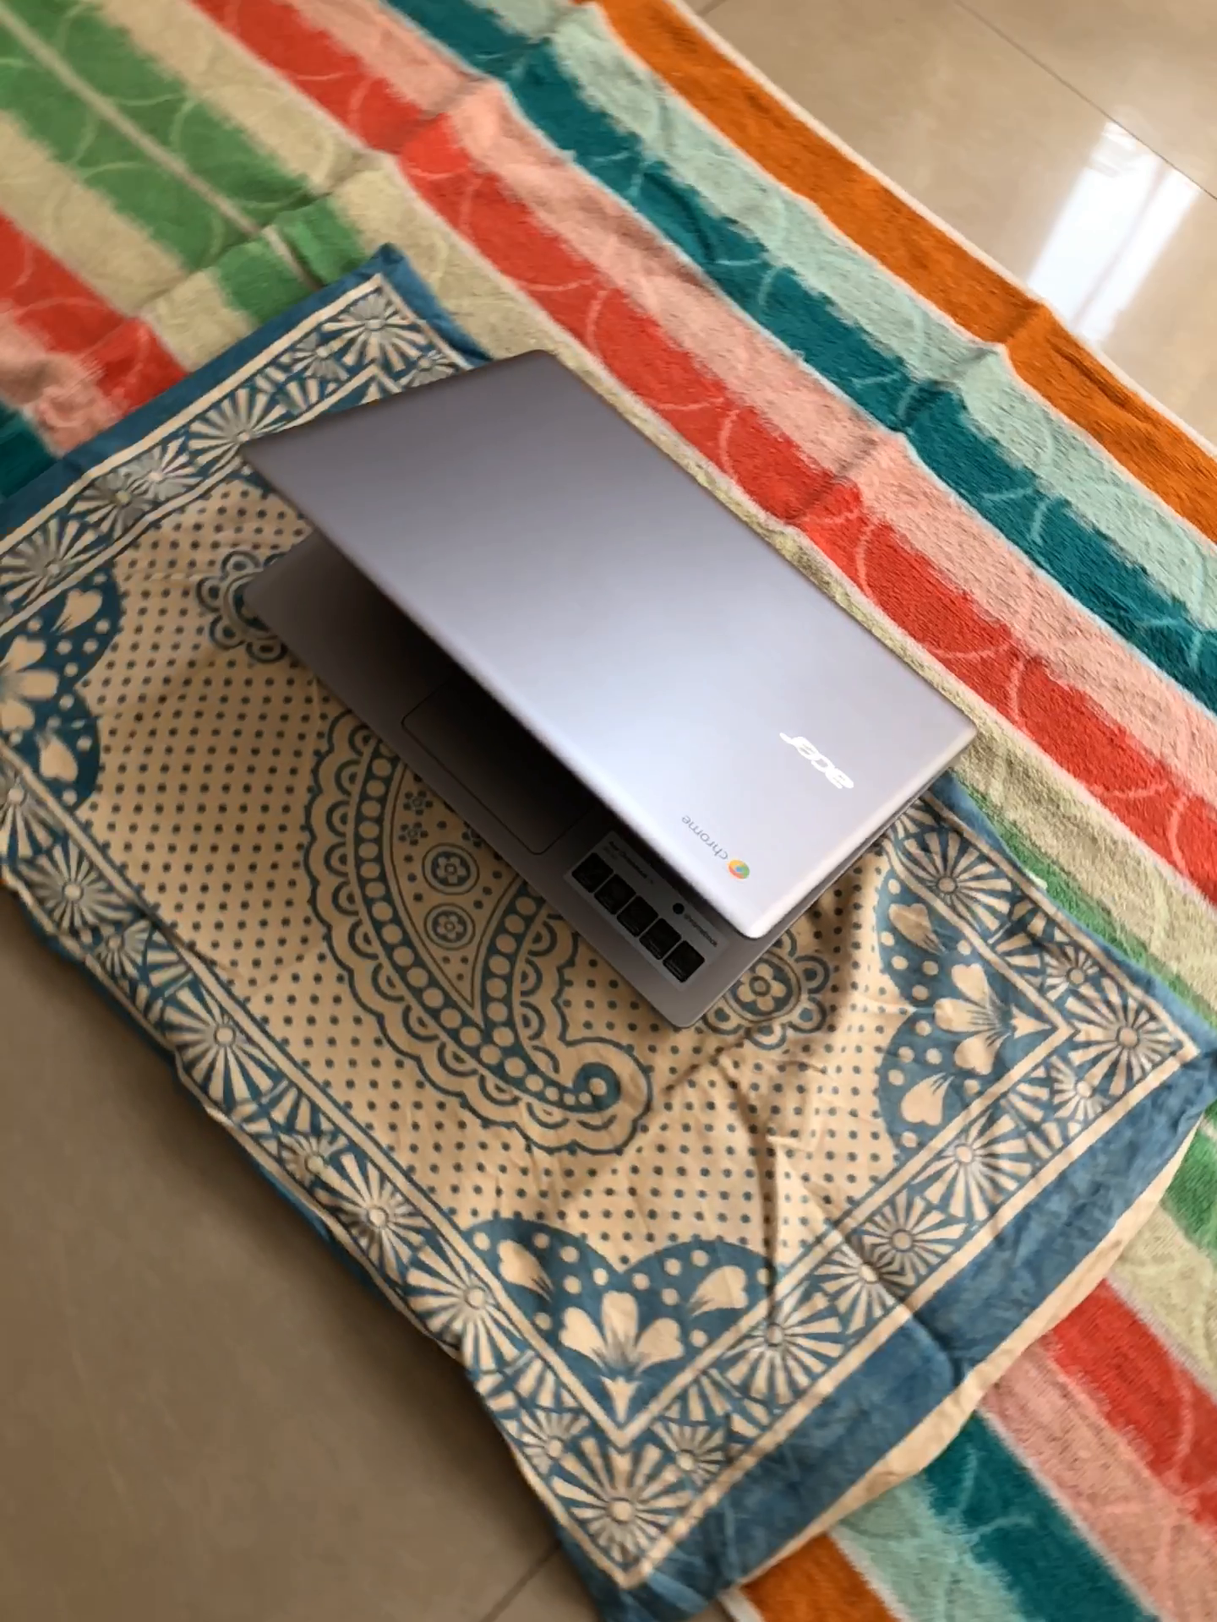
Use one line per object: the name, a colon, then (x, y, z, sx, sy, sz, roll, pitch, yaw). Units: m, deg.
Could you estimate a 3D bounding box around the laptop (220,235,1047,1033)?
laptop: (0.007, -0.091, 0.666, 0.222, 0.105, 0.319, -42, 78, -14)
